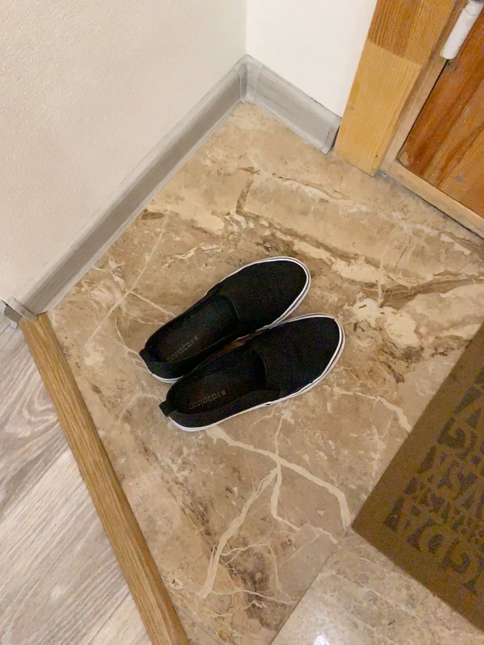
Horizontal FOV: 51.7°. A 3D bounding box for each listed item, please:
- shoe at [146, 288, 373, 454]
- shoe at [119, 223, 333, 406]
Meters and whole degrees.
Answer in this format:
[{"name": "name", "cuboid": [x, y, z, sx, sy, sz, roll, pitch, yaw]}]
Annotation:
[{"name": "shoe", "cuboid": [0.021, 0.059, 0.606, 0.250, 0.060, 0.090, -26, 76, -8]}, {"name": "shoe", "cuboid": [-0.017, -0.010, 0.624, 0.250, 0.060, 0.090, -35, 77, -10]}]
